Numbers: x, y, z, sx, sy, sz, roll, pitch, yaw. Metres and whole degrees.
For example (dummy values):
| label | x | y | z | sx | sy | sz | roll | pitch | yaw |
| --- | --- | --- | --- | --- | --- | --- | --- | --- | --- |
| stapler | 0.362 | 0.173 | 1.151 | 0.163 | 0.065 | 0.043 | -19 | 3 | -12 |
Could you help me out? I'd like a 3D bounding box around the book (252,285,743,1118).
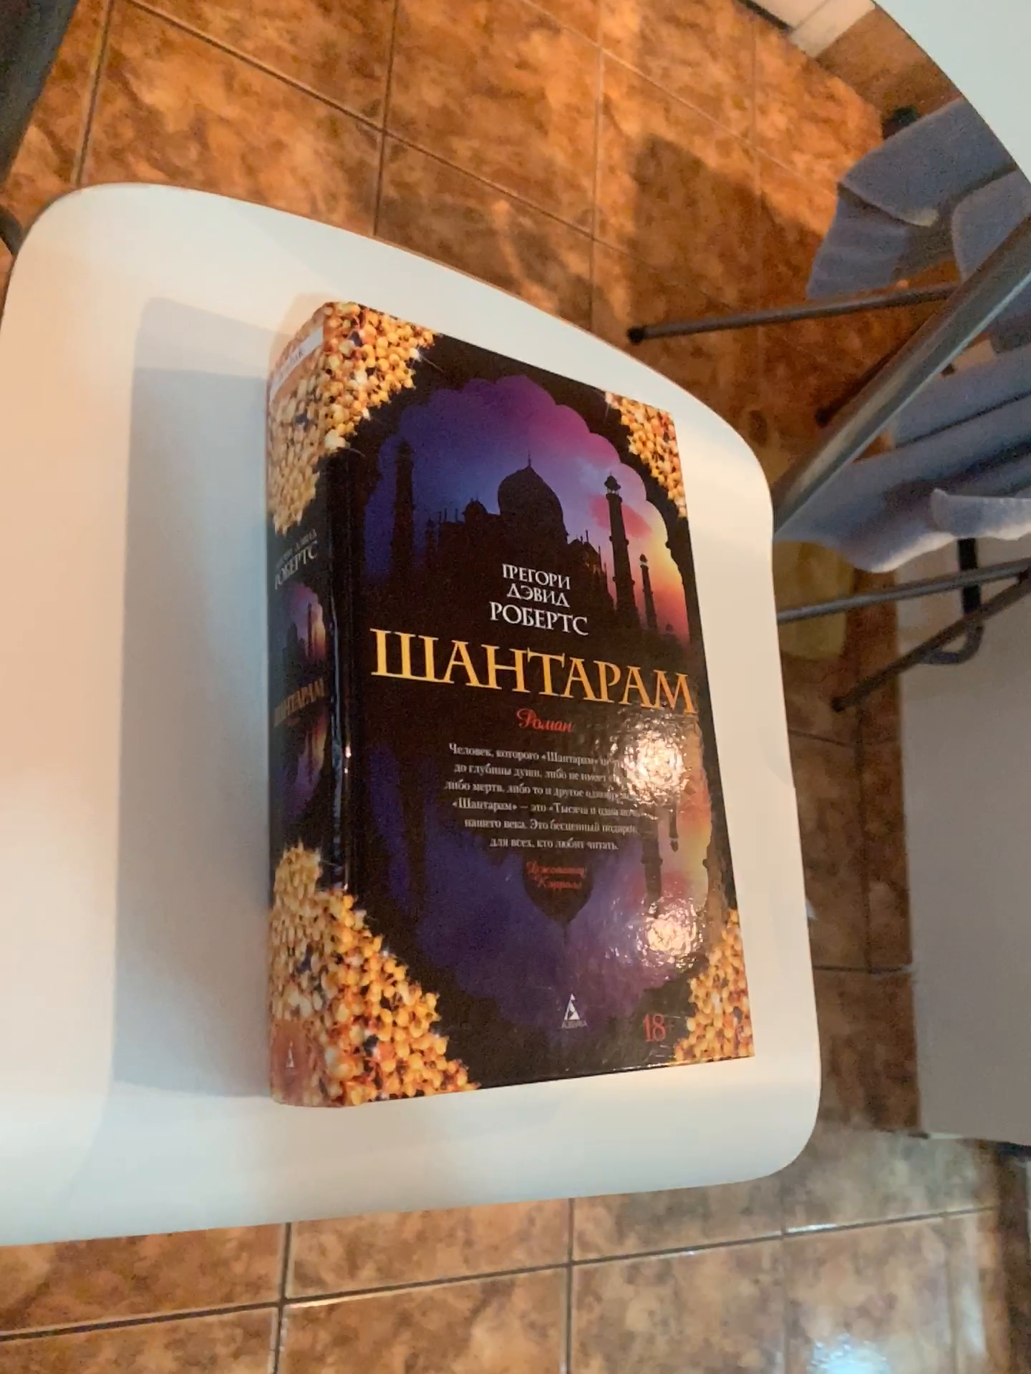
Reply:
| label | x | y | z | sx | sy | sz | roll | pitch | yaw |
| --- | --- | --- | --- | --- | --- | --- | --- | --- | --- |
| book | -0.007 | 0.004 | 0.347 | 0.146 | 0.044 | 0.237 | 7 | 72 | -33 |
